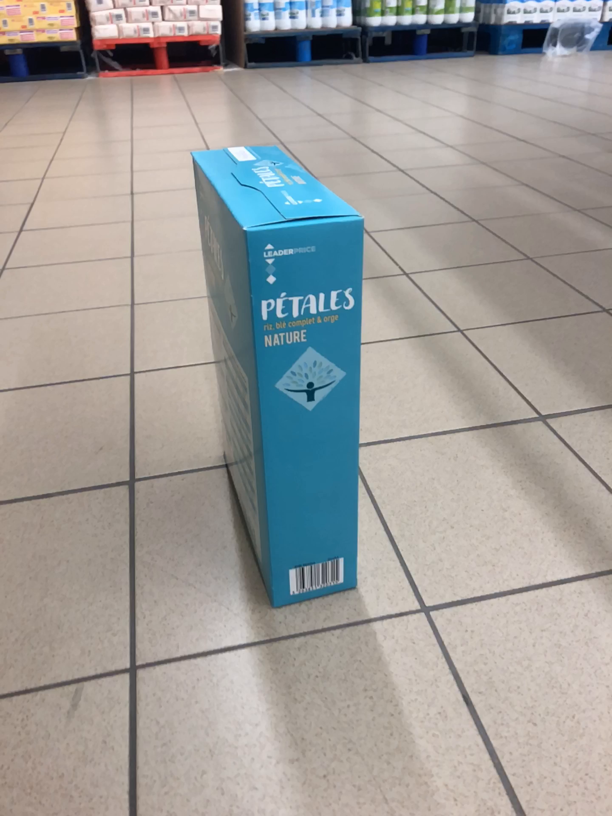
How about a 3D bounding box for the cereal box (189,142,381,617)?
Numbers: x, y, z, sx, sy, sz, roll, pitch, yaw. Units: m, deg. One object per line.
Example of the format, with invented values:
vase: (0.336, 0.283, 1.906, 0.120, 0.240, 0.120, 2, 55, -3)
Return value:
cereal box: (-0.021, -0.028, 0.480, 0.070, 0.268, 0.201, -9, 32, -13)
